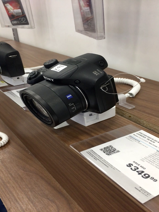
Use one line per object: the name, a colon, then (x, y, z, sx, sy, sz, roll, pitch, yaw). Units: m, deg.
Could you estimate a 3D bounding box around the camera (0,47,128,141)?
camera: (-0.023, -0.027, 0.332, 0.117, 0.089, 0.126, -31, 39, -24)
